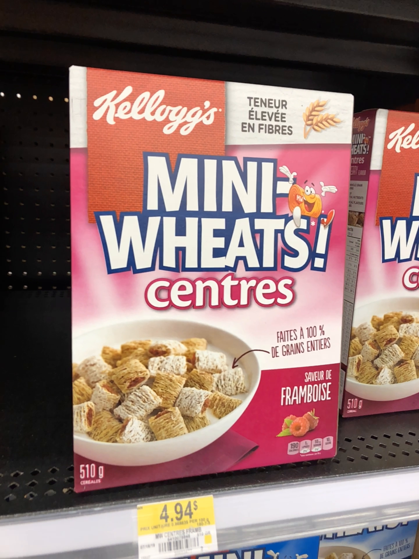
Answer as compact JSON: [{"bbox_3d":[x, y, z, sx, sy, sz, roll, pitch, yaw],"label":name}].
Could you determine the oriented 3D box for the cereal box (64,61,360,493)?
[{"bbox_3d":[-0.002,-0.001,0.334,0.190,0.259,0.070,-1,7,-15],"label":"cereal box"}]
